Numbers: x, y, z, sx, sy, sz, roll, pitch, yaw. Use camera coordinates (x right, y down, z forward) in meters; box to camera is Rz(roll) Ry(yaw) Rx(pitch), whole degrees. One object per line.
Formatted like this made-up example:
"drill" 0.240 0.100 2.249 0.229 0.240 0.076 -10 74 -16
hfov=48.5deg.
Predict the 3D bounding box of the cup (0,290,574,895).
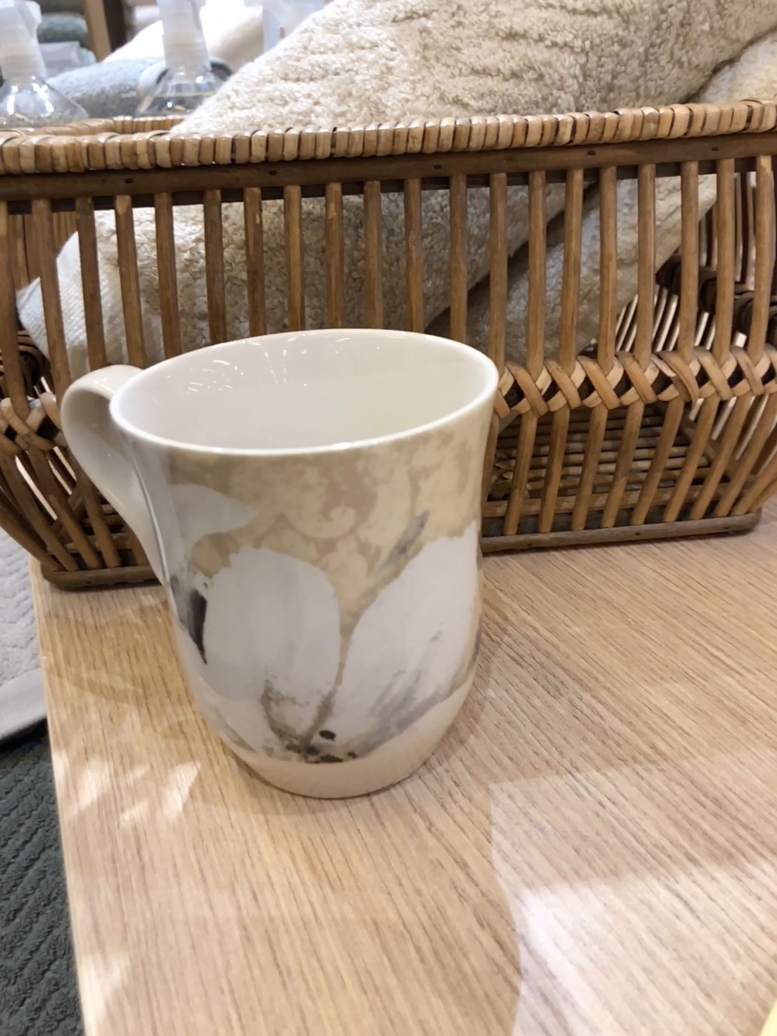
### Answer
"cup" -0.032 0.004 0.235 0.130 0.099 0.090 19 34 37
